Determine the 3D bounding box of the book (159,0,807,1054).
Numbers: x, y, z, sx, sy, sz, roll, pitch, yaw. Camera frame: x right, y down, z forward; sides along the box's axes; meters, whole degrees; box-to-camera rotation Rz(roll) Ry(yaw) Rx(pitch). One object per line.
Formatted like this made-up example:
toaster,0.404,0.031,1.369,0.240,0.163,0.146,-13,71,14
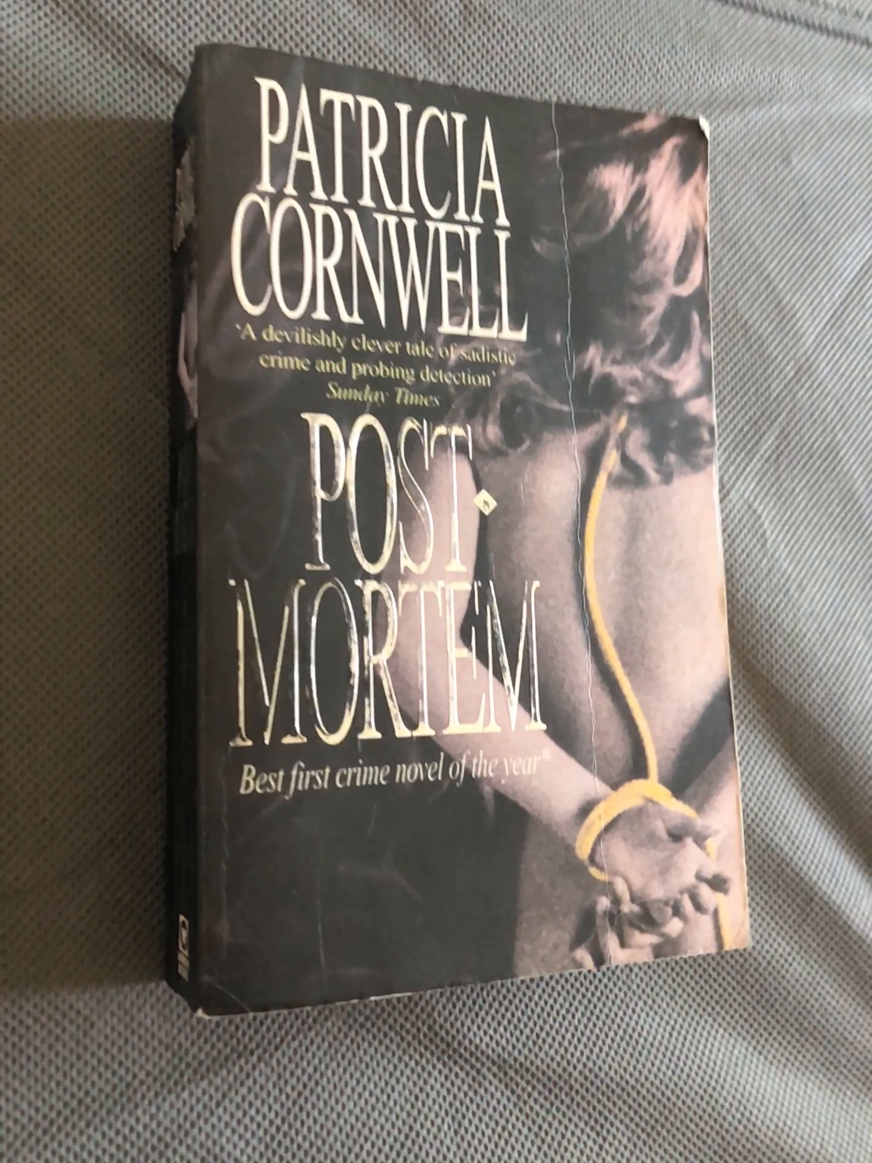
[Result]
book,0.004,-0.017,0.194,0.110,0.050,0.180,1,81,-21
